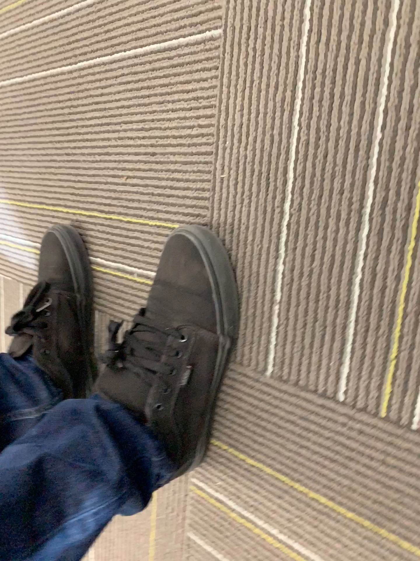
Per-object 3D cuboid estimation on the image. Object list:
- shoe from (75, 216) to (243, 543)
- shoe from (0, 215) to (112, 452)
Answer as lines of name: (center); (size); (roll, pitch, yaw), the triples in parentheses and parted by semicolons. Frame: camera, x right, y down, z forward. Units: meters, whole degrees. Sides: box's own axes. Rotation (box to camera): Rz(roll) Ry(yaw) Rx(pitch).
shoe: (-0.057, 0.085, 0.448); (0.110, 0.112, 0.291); (14, 105, 40)
shoe: (-0.234, 0.064, 0.605); (0.110, 0.112, 0.291); (-5, 92, 42)
